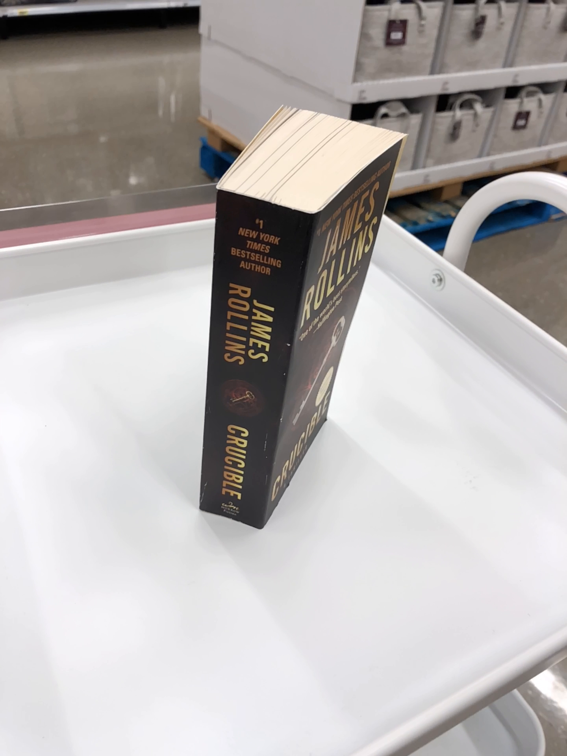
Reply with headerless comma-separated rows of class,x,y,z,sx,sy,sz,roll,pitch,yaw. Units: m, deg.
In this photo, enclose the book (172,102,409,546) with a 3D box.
book,-0.001,-0.024,0.323,0.066,0.184,0.113,18,40,11
